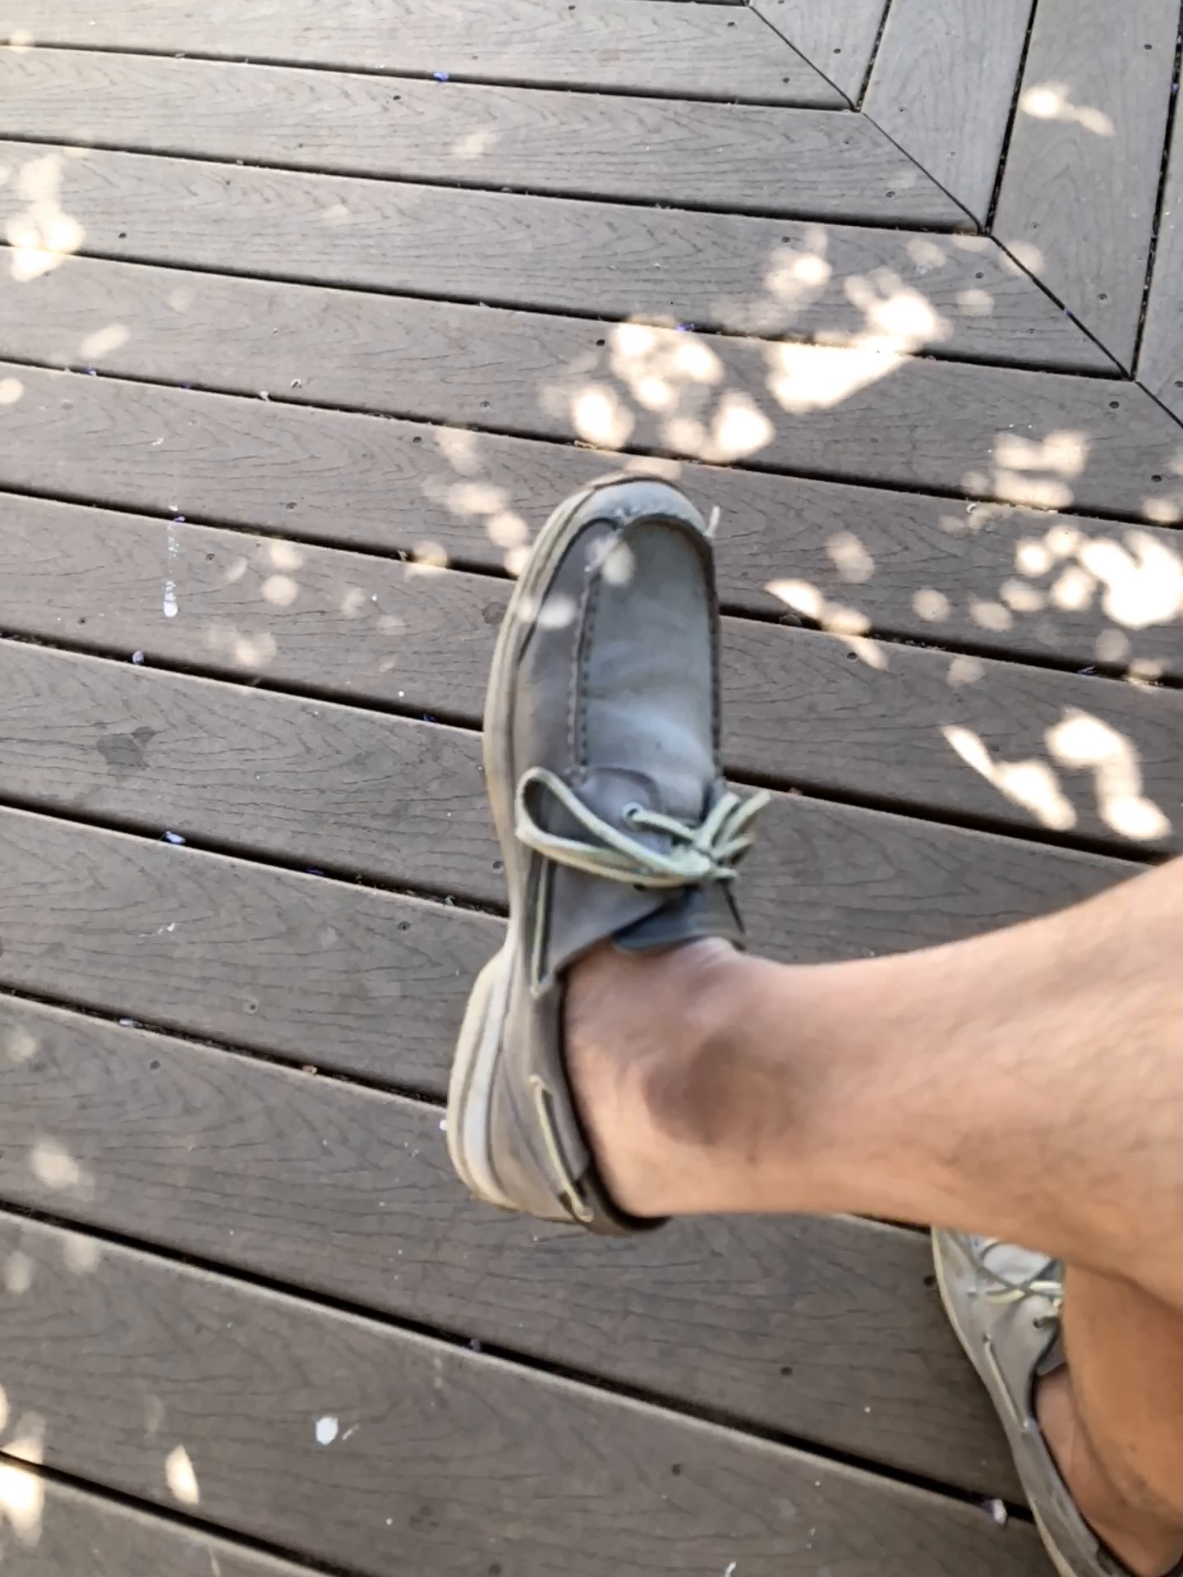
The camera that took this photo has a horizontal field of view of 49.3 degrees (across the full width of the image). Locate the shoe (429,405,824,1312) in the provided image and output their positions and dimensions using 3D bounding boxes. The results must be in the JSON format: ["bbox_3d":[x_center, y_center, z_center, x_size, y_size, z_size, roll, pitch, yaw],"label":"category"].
[{"bbox_3d":[0.016,0.026,0.531,0.083,0.116,0.326,3,89,46],"label":"shoe"}]
